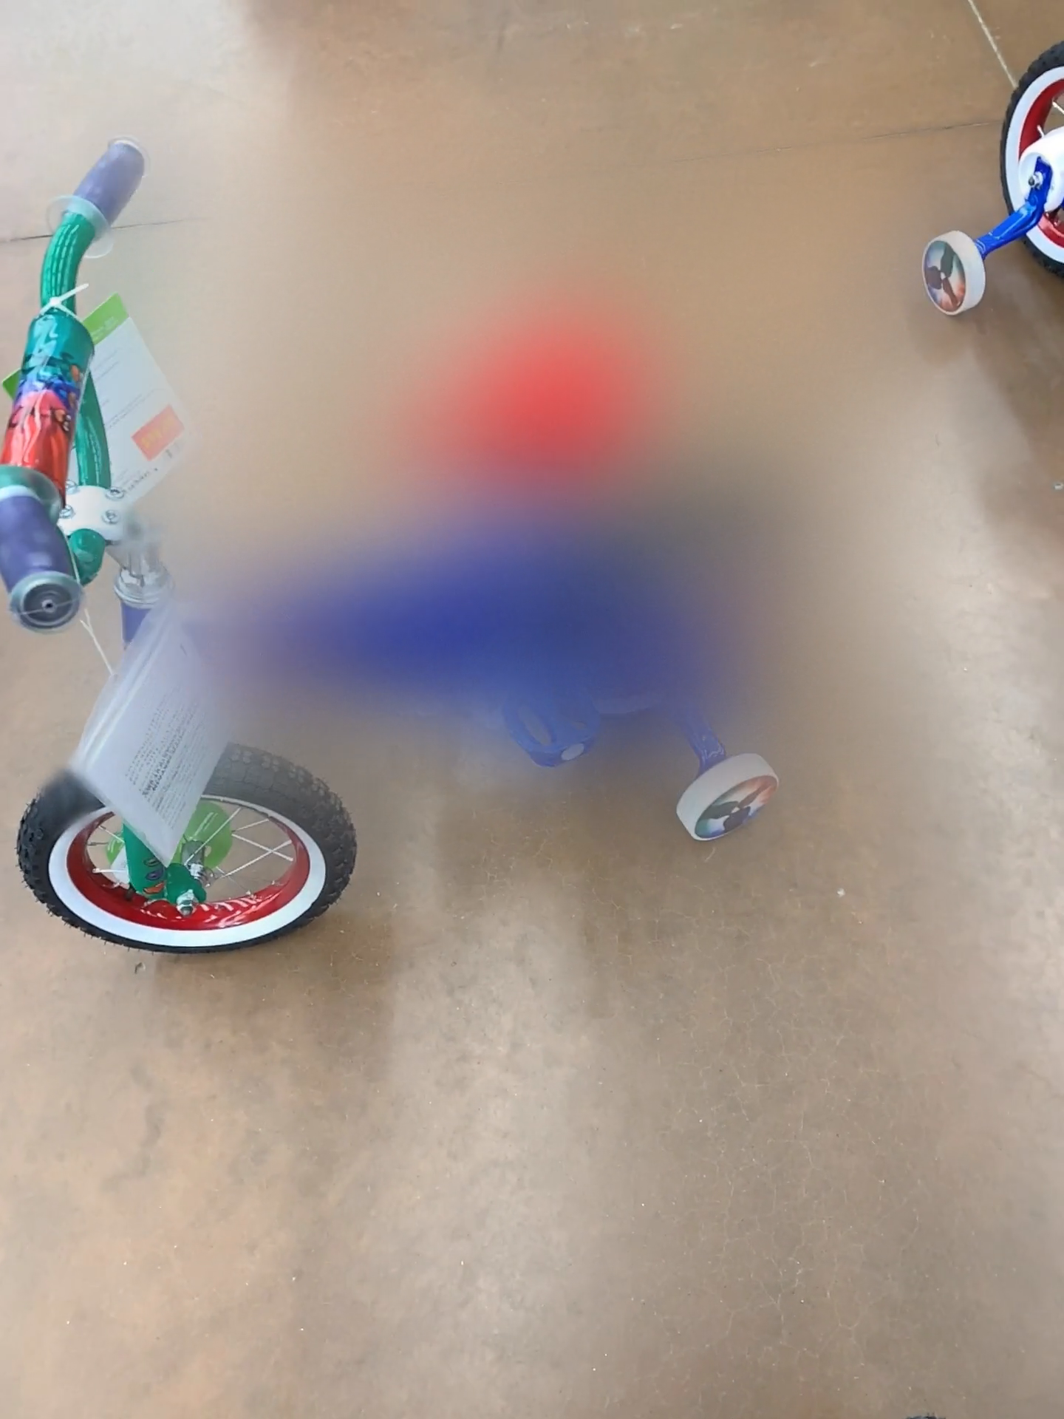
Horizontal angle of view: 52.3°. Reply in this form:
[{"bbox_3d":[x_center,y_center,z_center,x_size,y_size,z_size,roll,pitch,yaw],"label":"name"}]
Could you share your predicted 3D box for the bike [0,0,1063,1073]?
[{"bbox_3d":[-0.128,-0.143,0.955,0.794,0.696,0.466,-23,58,-8],"label":"bike"}]
